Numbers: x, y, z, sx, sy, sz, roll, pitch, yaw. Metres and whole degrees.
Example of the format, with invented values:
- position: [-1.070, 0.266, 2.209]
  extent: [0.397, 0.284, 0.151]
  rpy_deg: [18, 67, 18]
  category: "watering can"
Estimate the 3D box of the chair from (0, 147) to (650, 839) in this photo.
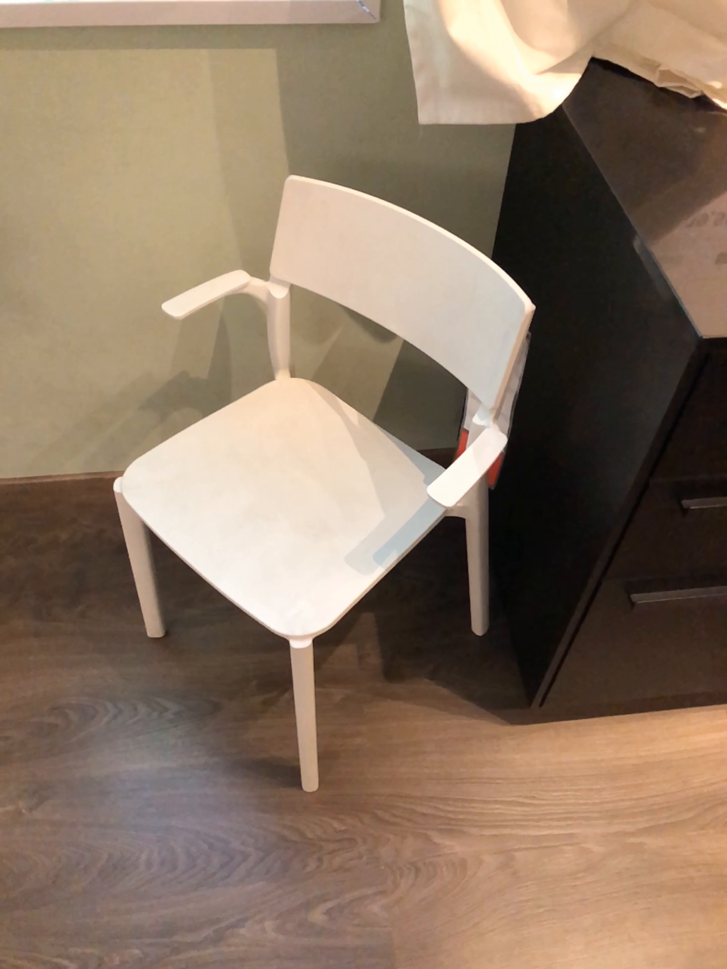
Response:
- position: [-0.049, 0.024, 1.273]
  extent: [0.562, 0.755, 0.582]
  rpy_deg: [36, 57, 25]
  category: "chair"
